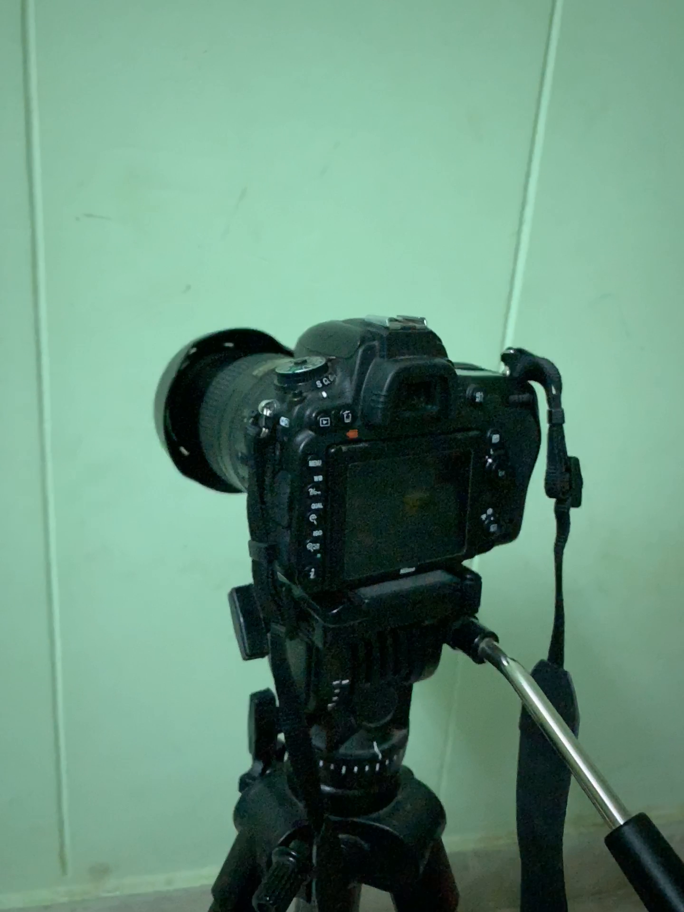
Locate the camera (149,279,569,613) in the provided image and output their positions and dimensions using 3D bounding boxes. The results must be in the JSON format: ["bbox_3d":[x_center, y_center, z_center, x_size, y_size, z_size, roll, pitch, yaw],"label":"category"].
[{"bbox_3d":[-0.006,-0.025,0.384,0.140,0.117,0.182,-7,20,-32],"label":"camera"}]
